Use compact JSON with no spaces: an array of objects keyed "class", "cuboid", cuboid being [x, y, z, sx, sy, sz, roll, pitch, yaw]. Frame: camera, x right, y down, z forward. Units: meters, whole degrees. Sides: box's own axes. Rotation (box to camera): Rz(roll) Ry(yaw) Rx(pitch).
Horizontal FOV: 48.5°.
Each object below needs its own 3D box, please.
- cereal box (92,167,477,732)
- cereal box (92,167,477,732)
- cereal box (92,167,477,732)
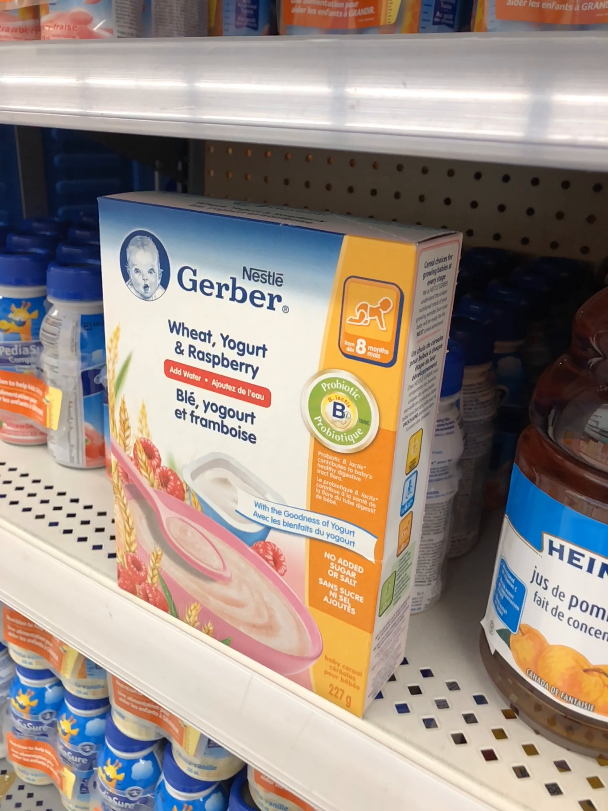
[{"class":"cereal box","cuboid":[-0.020,0.011,0.286,0.140,0.199,0.050,18,24,29]},{"class":"cereal box","cuboid":[-0.020,0.011,0.286,0.140,0.199,0.050,18,24,29]},{"class":"cereal box","cuboid":[-0.020,0.011,0.286,0.140,0.199,0.050,18,24,29]}]
